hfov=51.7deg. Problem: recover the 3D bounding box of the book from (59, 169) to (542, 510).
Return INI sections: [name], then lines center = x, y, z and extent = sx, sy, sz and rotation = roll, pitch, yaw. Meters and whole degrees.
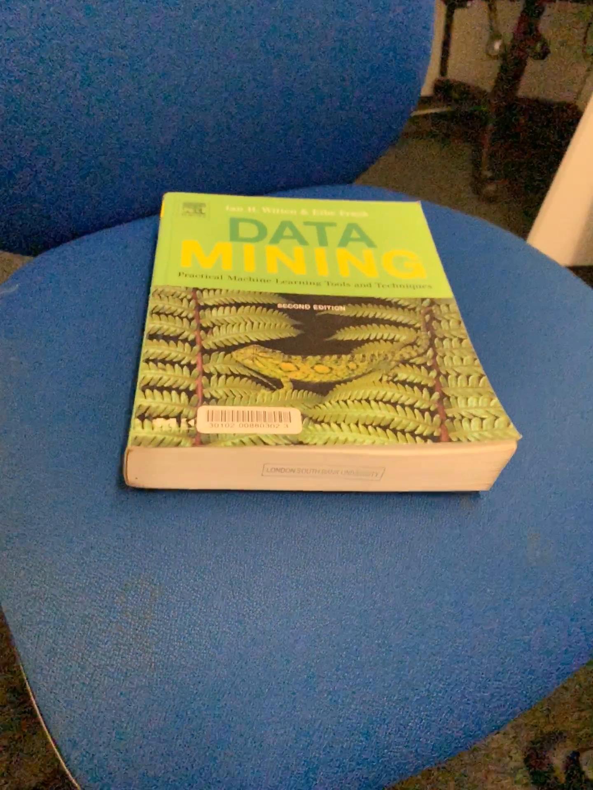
[book]
center = -0.005, -0.051, 0.375
extent = 0.220, 0.050, 0.242
rotation = 0, 48, -7
